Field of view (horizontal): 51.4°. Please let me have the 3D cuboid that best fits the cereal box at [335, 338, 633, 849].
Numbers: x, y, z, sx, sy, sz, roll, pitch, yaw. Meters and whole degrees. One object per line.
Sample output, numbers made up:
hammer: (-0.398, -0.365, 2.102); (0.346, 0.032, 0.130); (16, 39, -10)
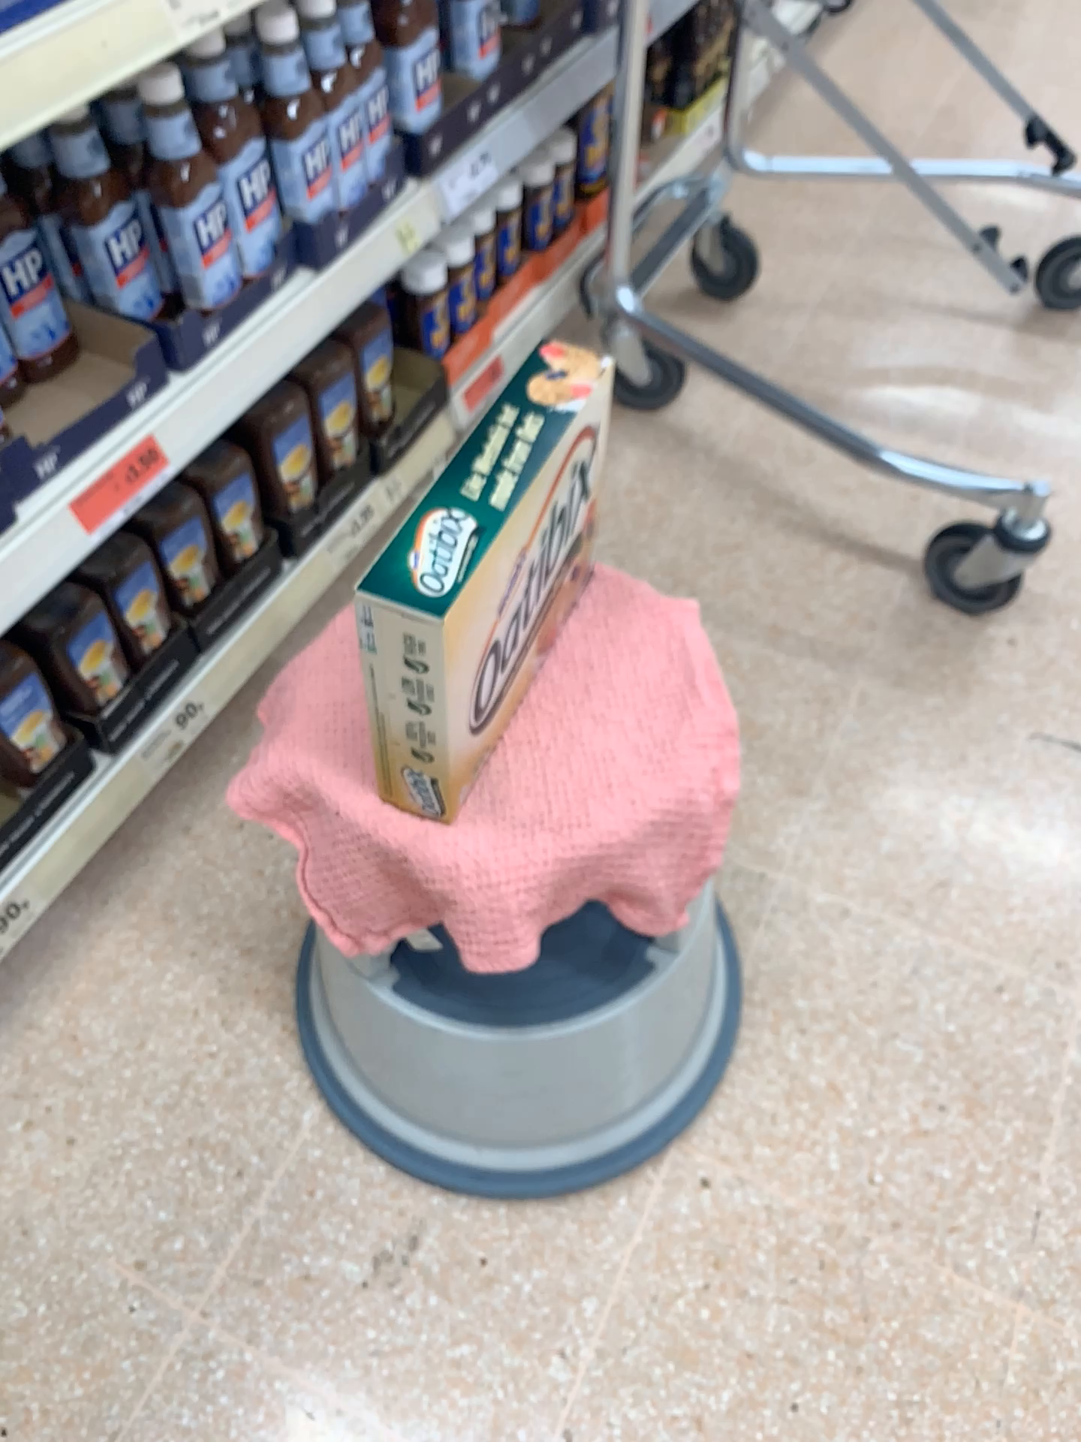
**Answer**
cereal box: (-0.026, -0.084, 0.719); (0.060, 0.188, 0.272); (20, 53, 13)
